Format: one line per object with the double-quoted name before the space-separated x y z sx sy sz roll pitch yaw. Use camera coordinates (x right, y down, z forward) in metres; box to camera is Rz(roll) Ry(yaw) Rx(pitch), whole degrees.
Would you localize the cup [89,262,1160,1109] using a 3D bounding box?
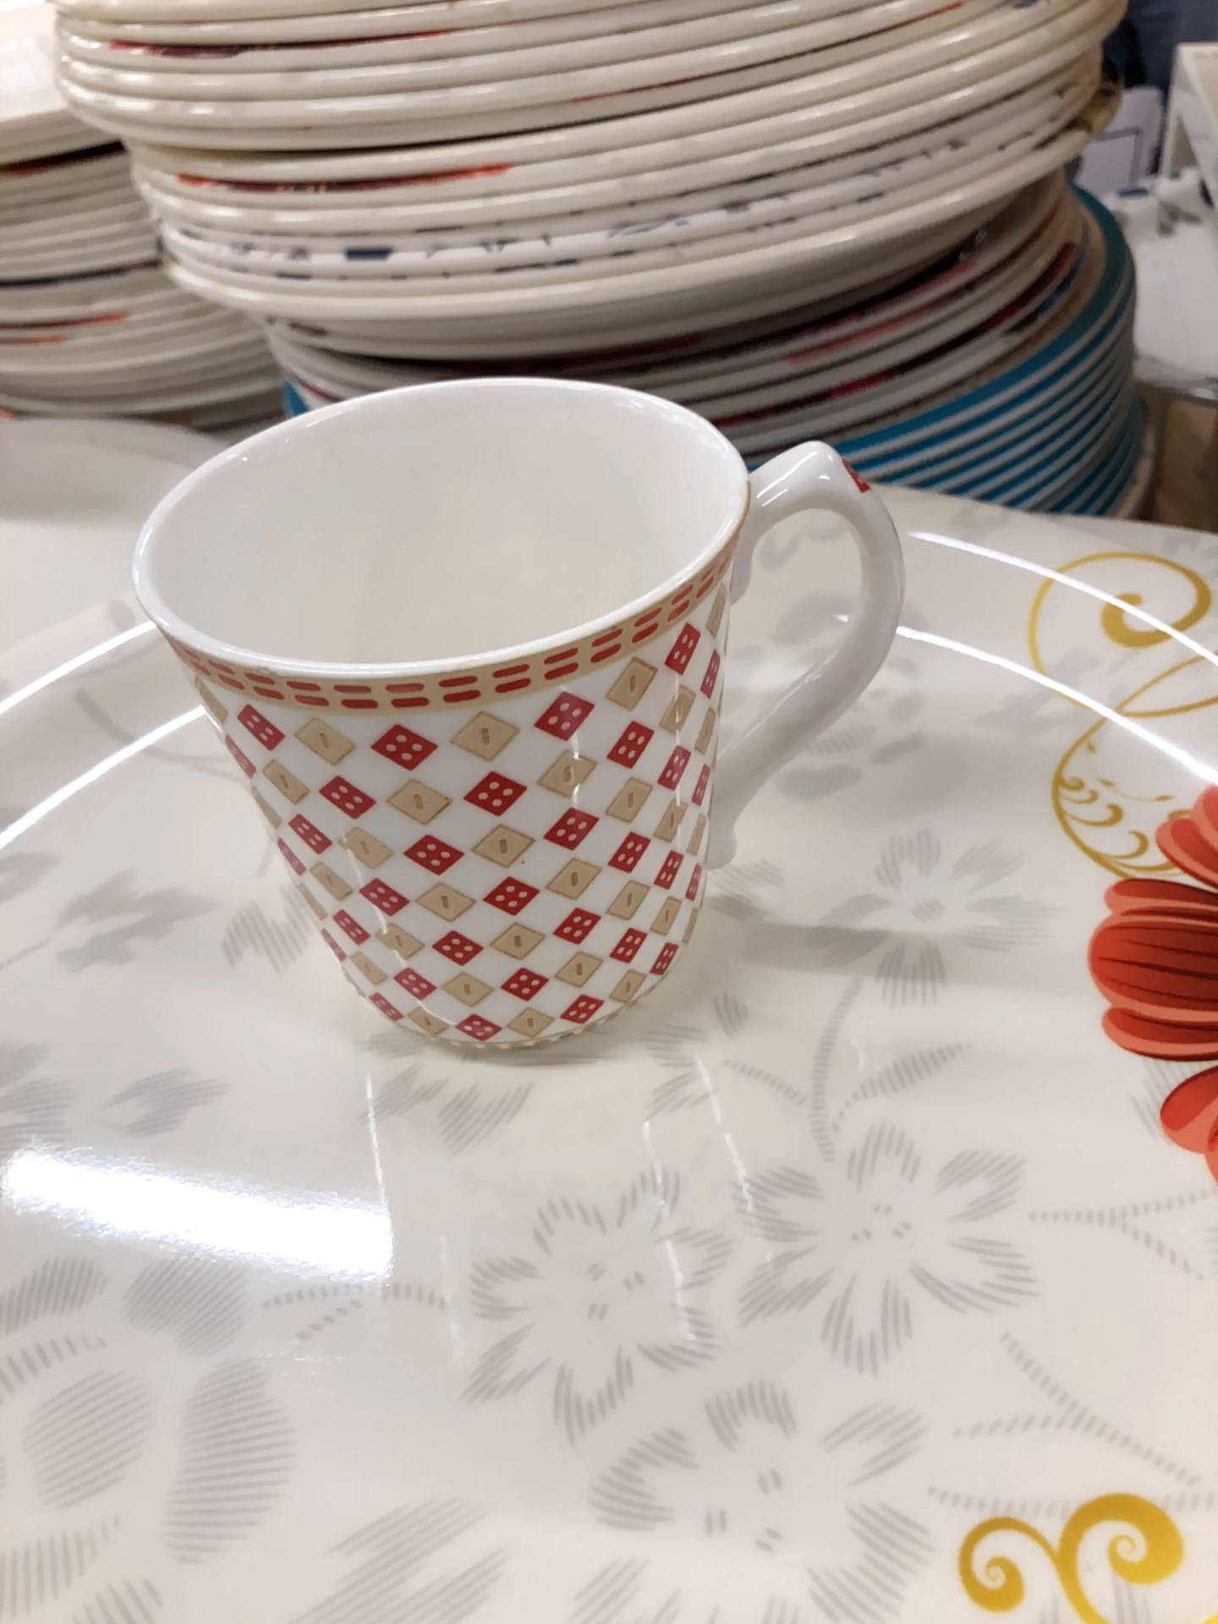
"cup" 0.002 -0.021 0.207 0.120 0.079 0.080 -9 40 -1
